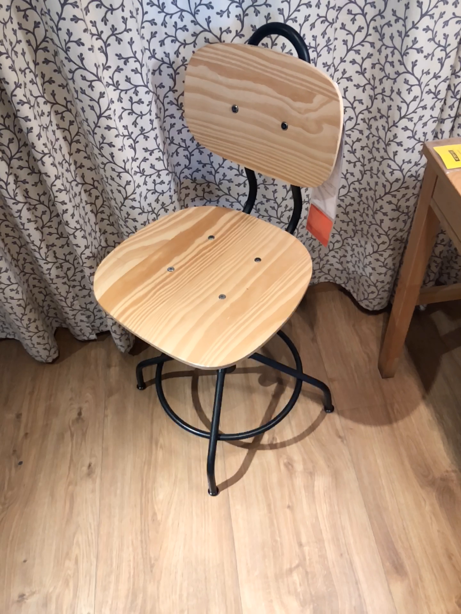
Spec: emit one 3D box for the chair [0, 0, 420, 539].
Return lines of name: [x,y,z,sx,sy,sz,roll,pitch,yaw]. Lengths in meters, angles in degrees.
chair: [-0.063,-0.055,1.022,0.522,0.815,0.552,28,57,27]
